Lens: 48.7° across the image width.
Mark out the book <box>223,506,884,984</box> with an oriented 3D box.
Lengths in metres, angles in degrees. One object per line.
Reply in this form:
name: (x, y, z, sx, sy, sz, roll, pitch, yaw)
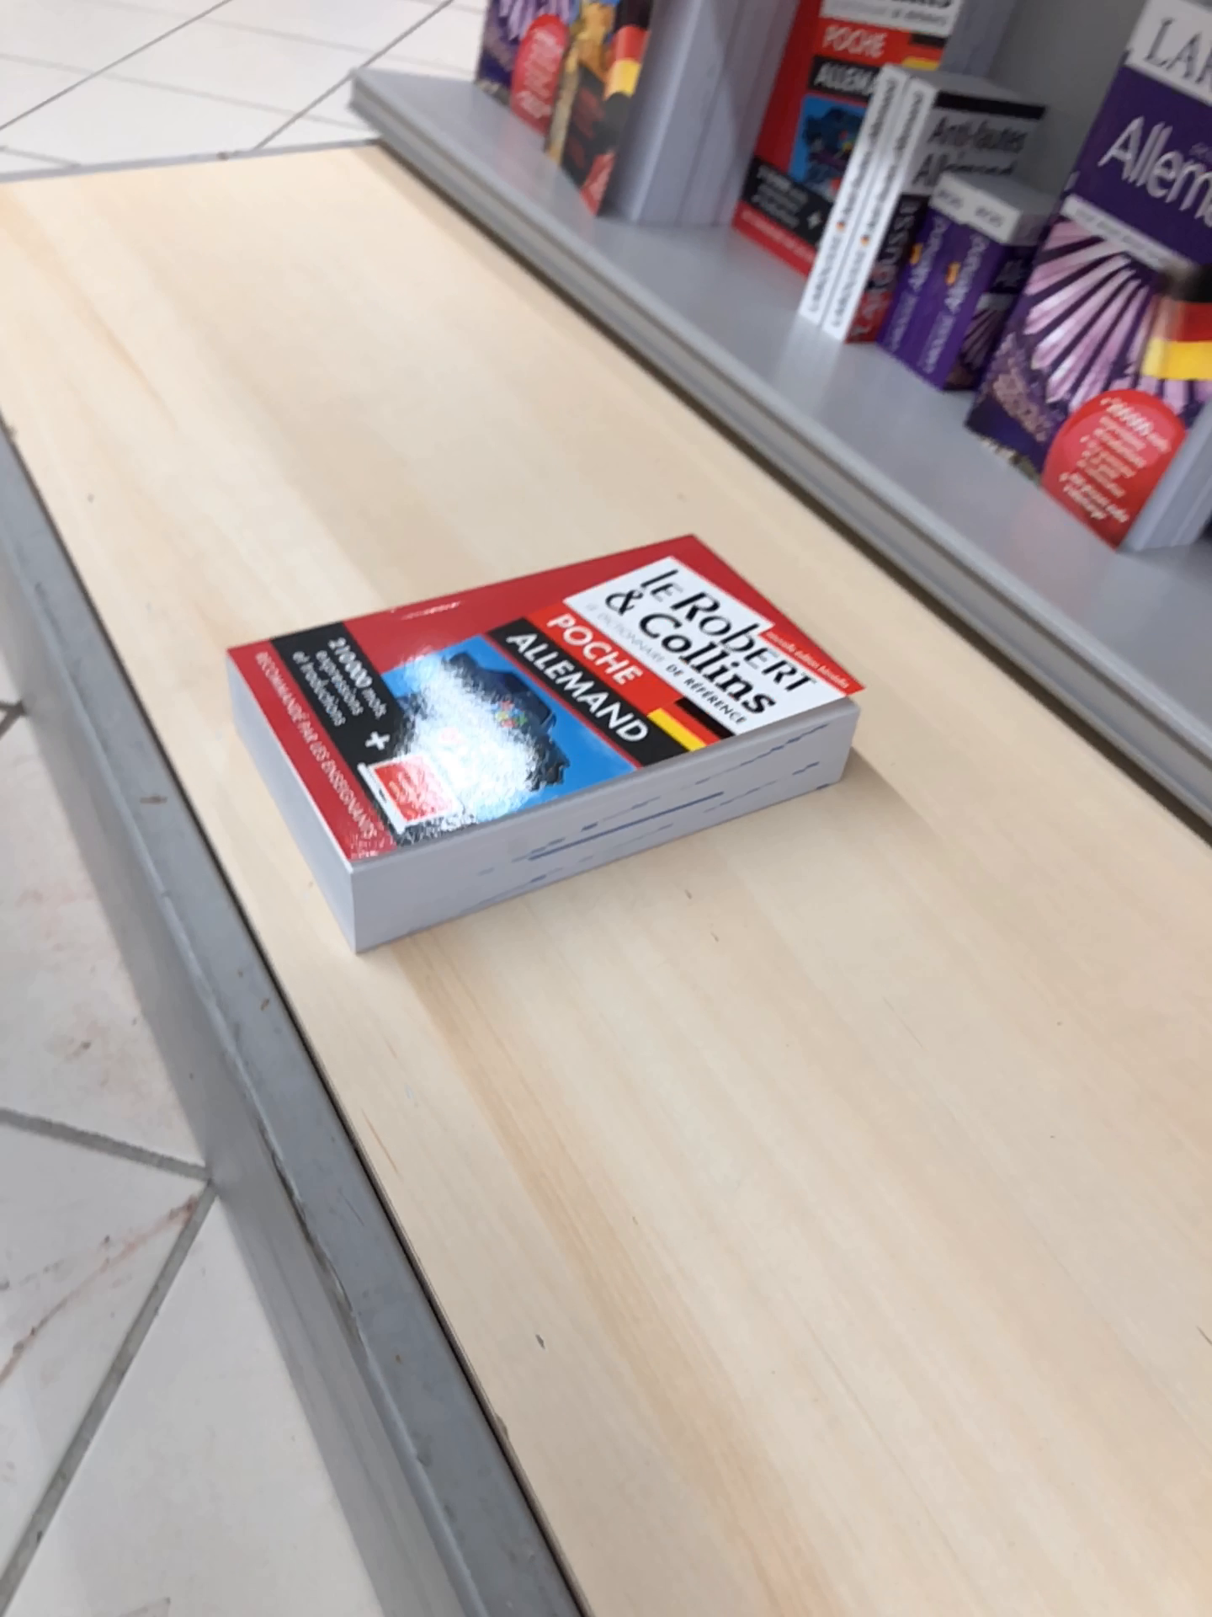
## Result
book: (-0.017, -0.029, 0.426, 0.171, 0.050, 0.110, -19, 48, -23)
